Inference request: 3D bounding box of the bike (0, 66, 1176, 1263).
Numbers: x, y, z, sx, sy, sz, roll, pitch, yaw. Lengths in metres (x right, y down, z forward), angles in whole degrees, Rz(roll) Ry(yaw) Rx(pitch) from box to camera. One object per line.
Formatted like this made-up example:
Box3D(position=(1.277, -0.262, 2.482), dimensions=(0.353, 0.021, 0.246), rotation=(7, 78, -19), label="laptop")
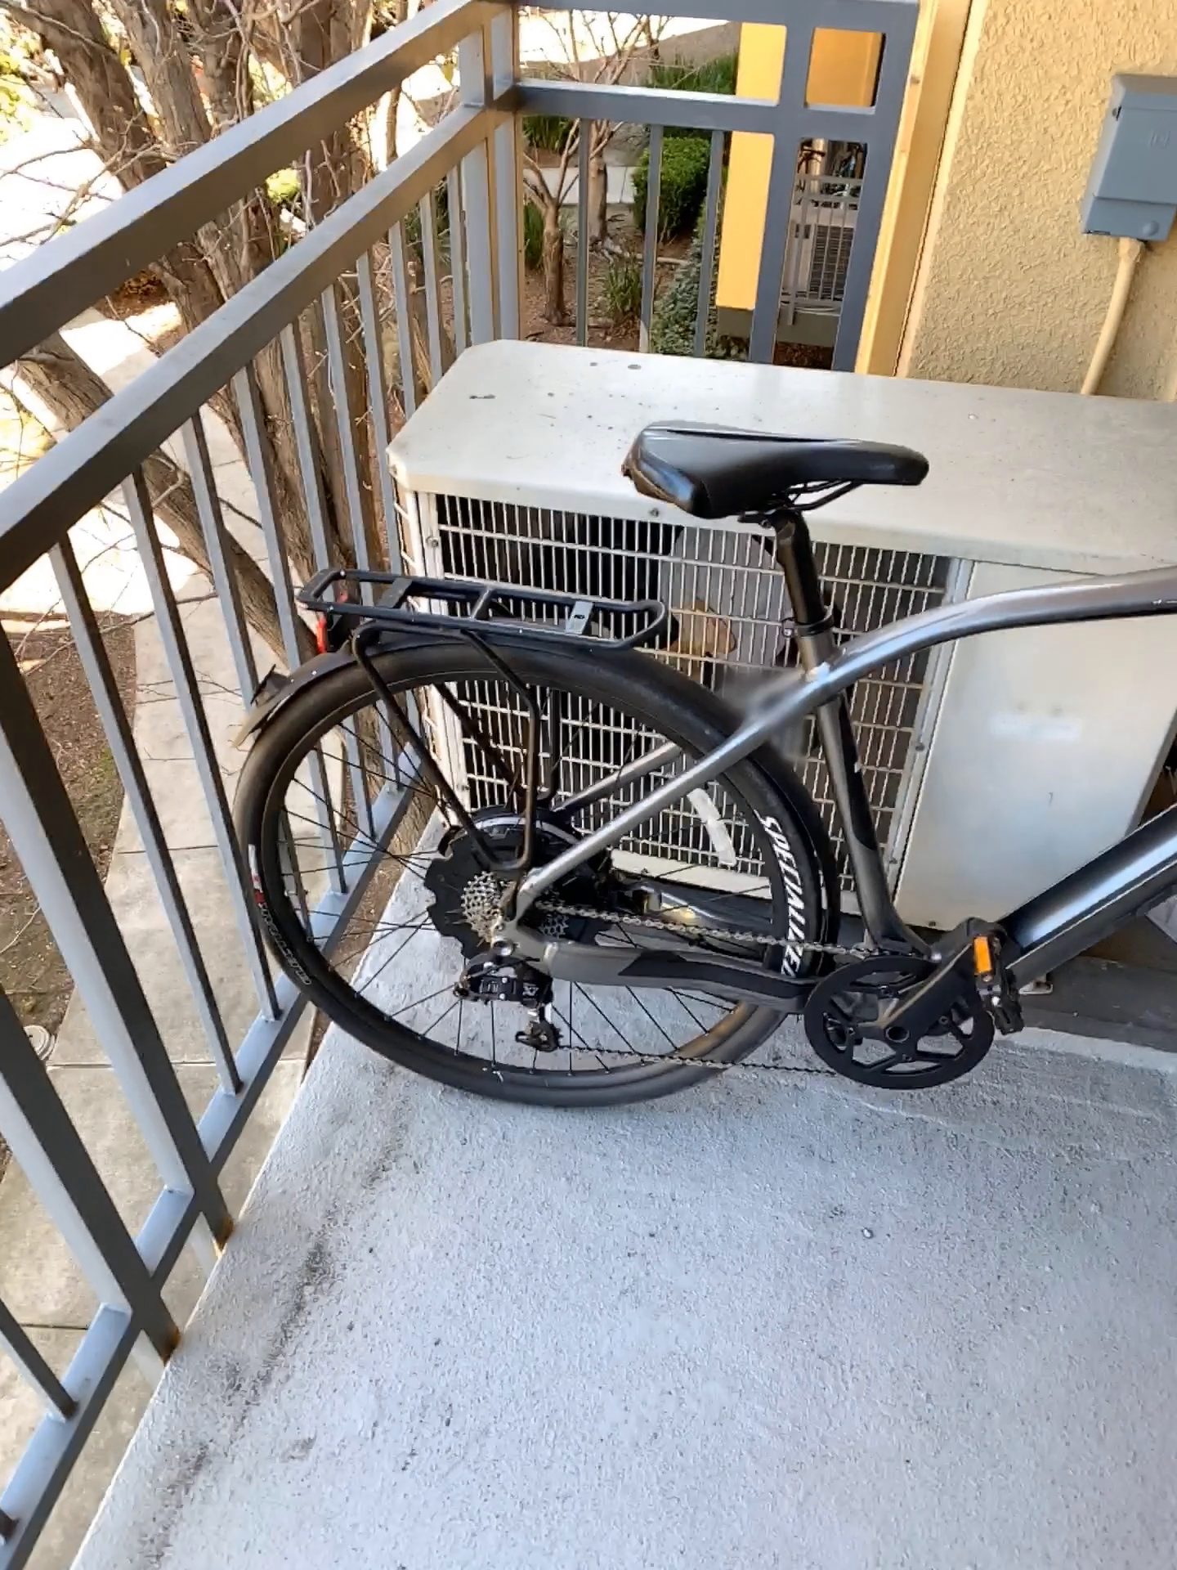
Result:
Box3D(position=(0.436, -0.078, 1.285), dimensions=(1.582, 0.971, 0.625), rotation=(5, 44, 1), label="bike")
